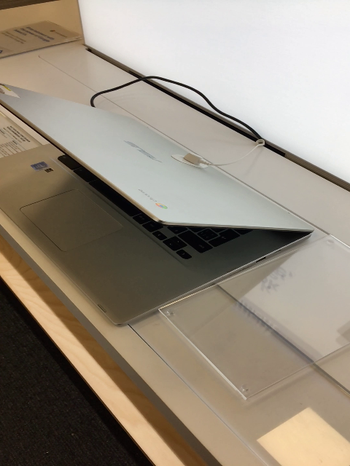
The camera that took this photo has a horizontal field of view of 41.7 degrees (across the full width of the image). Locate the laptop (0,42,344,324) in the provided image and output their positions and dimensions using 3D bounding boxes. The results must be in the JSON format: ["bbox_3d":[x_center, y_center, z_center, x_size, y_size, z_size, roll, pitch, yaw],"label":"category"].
[{"bbox_3d":[-0.068,-0.087,0.552,0.252,0.132,0.359,-30,53,-25],"label":"laptop"}]
